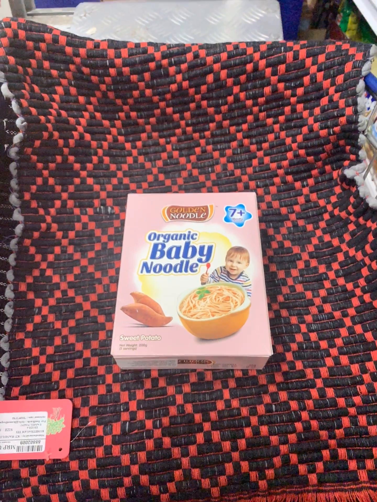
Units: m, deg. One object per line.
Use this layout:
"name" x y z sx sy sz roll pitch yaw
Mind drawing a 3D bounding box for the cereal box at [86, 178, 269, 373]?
"cereal box" -0.007 0.018 0.337 0.130 0.050 0.160 -1 62 2
